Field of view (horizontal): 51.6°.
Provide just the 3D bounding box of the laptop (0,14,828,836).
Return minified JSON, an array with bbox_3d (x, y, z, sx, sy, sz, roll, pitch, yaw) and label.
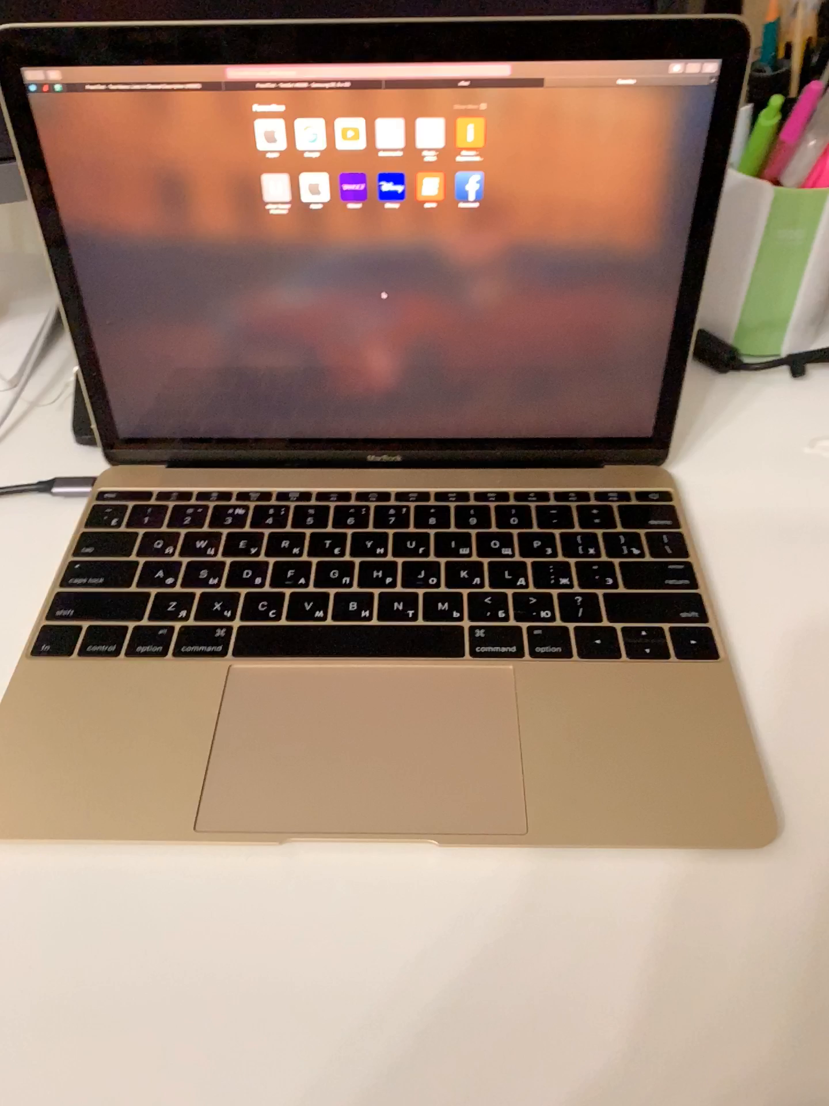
[{"bbox_3d":[-0.019,-0.047,0.271,0.247,0.168,0.198,0,44,1],"label":"laptop"}]
